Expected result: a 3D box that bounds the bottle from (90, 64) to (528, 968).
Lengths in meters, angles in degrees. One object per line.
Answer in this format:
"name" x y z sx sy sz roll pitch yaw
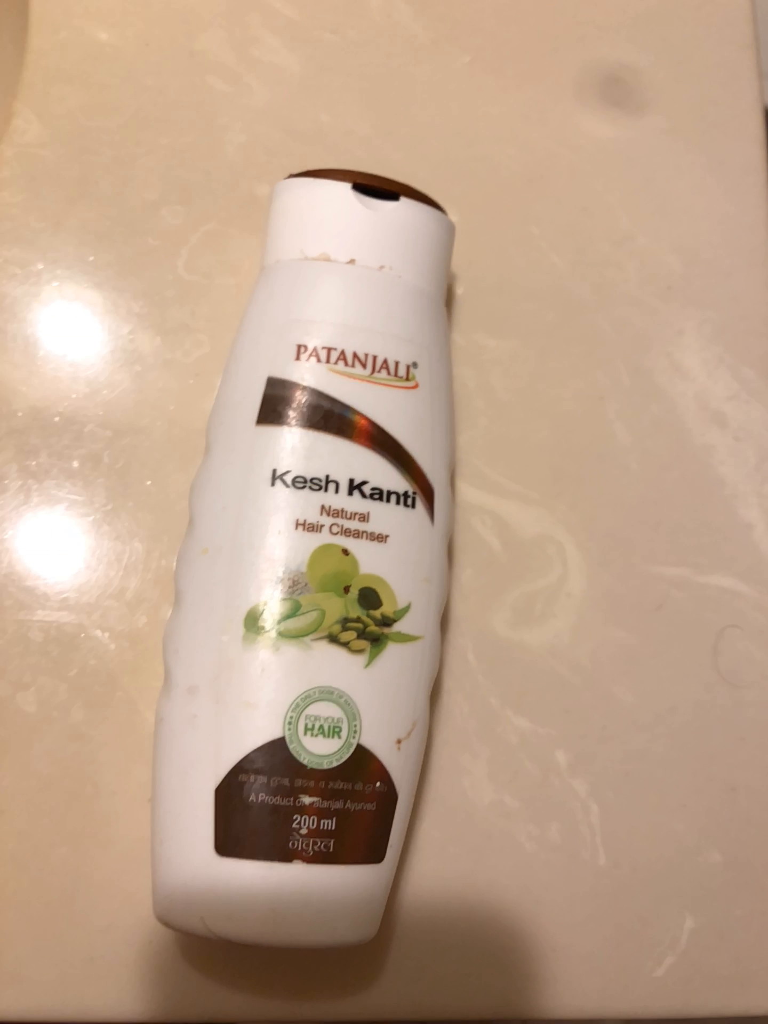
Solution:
"bottle" -0.012 -0.005 0.213 0.070 0.040 0.200 10 75 -8
